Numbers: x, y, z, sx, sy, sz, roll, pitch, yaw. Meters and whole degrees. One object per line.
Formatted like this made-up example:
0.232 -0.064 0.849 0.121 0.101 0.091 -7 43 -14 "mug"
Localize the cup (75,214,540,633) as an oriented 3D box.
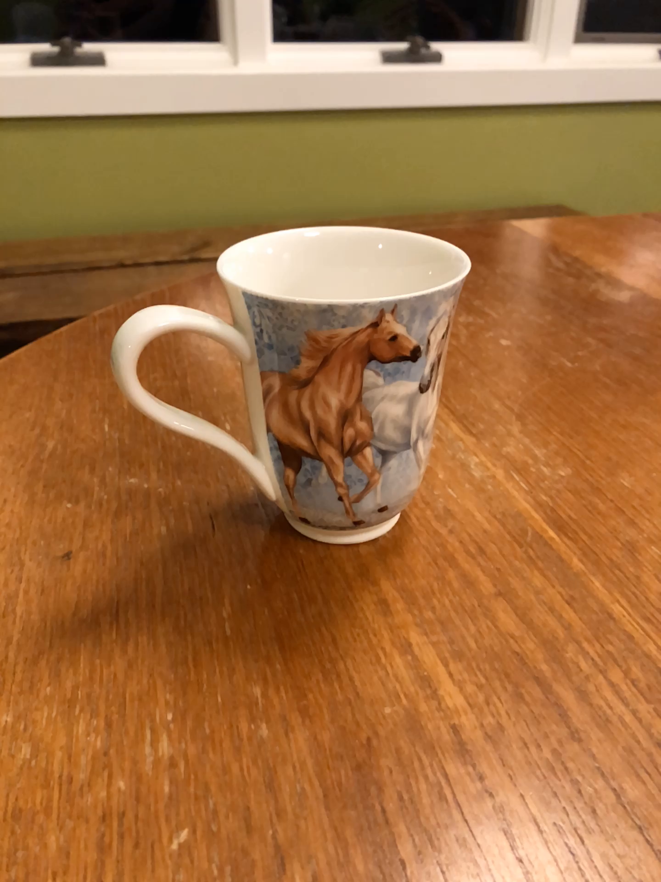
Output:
-0.008 -0.017 0.271 0.133 0.098 0.083 -17 35 -27 "cup"
